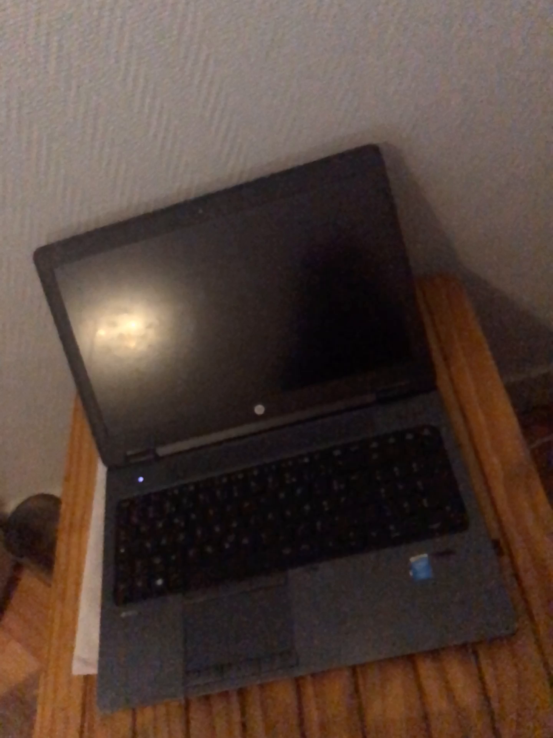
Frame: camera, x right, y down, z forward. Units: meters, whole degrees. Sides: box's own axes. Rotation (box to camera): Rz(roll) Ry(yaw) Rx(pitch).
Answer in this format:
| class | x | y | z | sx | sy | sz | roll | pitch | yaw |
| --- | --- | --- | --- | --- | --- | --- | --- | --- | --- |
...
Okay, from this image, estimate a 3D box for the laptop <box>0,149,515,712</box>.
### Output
| class | x | y | z | sx | sy | sz | roll | pitch | yaw |
| --- | --- | --- | --- | --- | --- | --- | --- | --- | --- |
| laptop | -0.042 | 0.048 | 0.593 | 0.382 | 0.196 | 0.411 | -15 | 52 | 7 |
